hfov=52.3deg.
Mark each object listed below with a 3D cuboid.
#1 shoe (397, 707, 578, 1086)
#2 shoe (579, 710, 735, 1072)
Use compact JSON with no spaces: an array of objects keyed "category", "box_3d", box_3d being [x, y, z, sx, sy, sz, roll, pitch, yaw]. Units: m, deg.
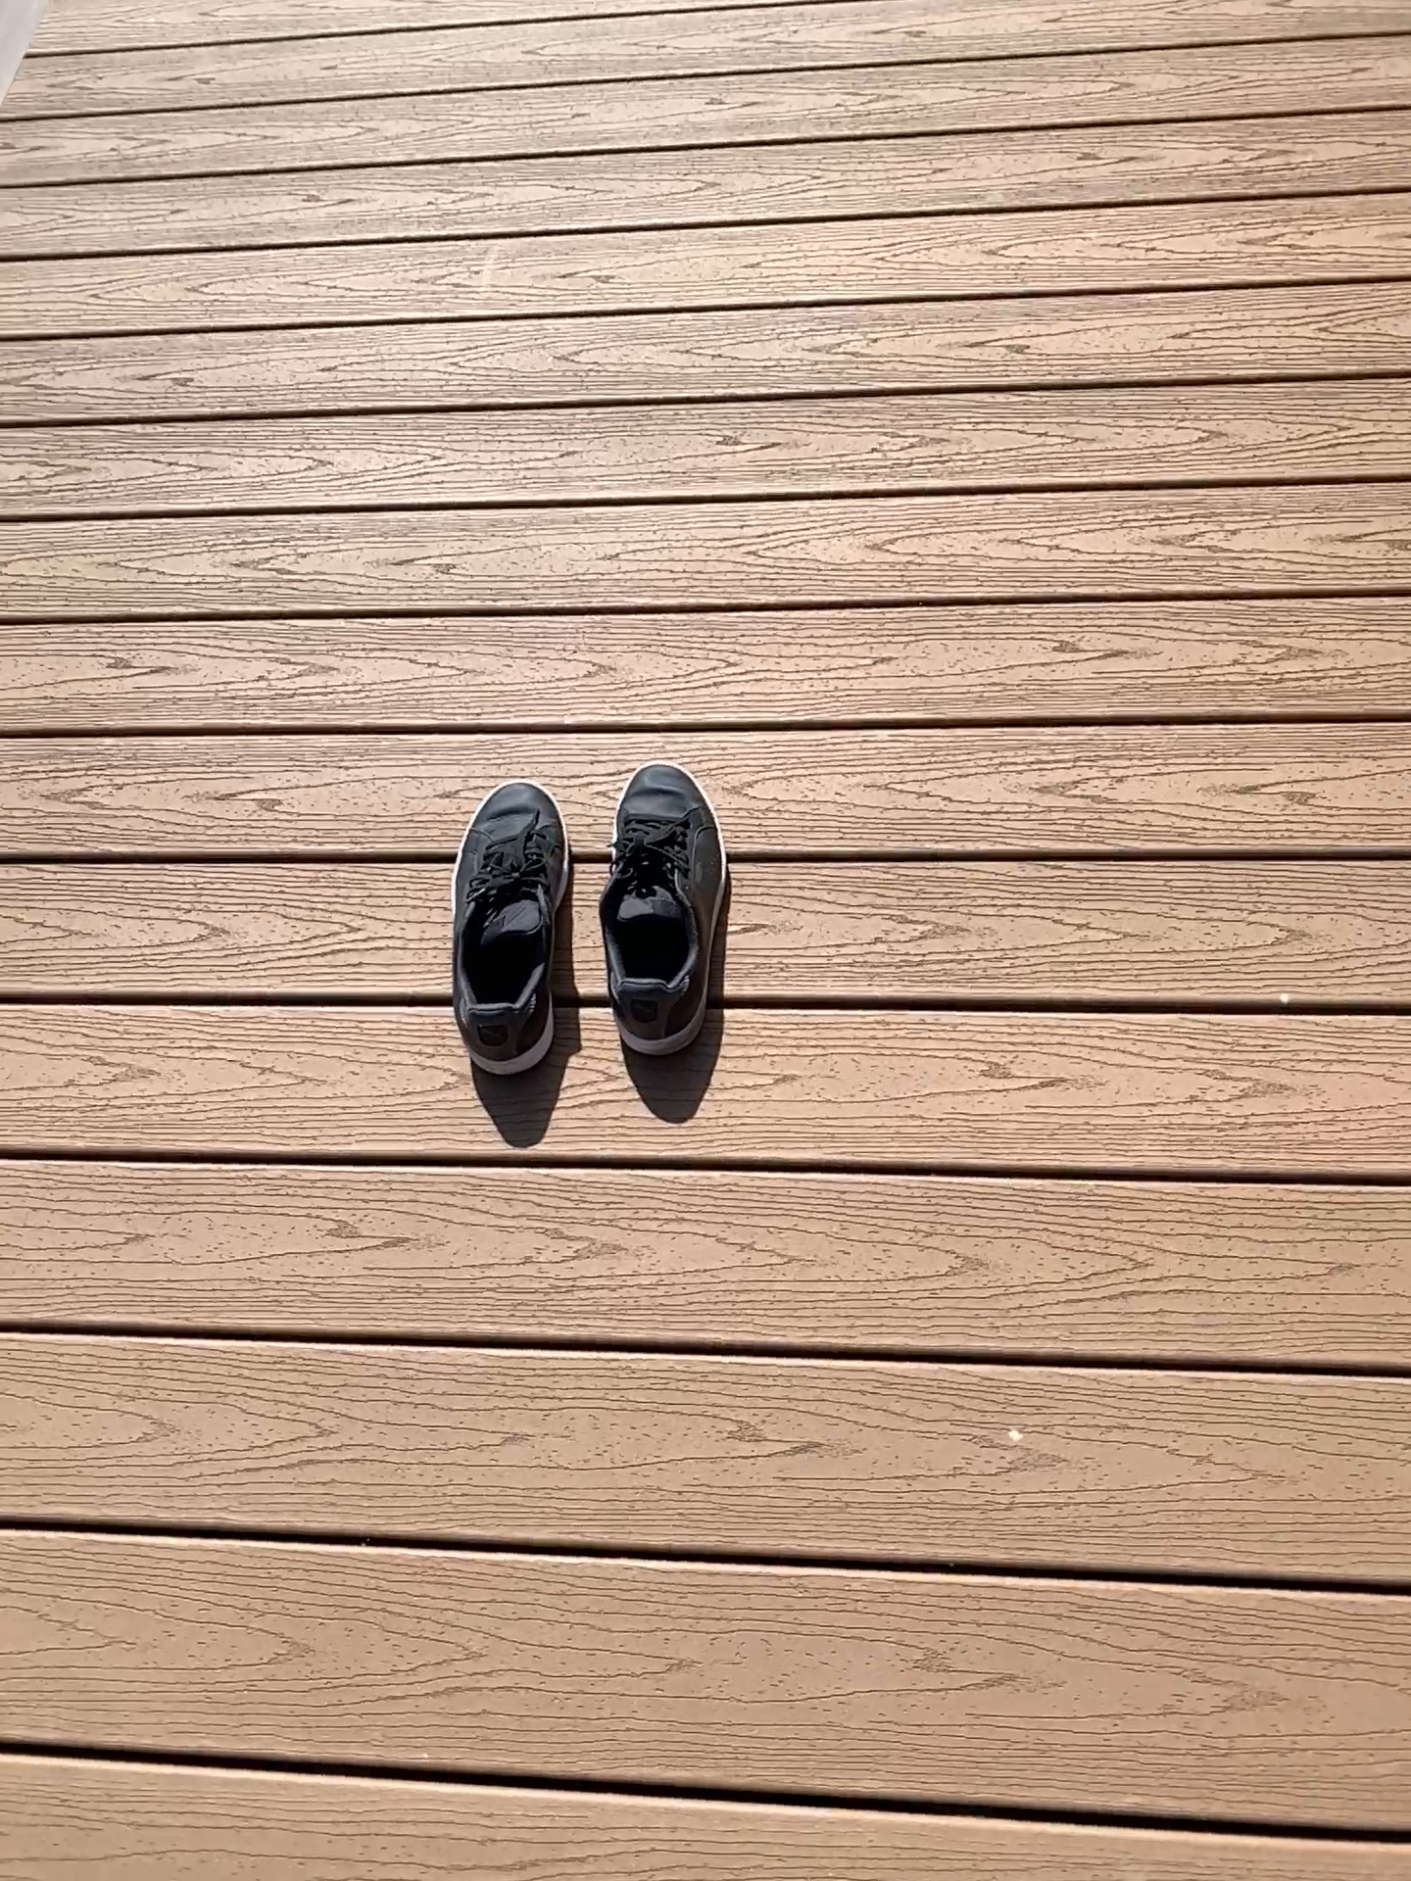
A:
[{"category":"shoe","box_3d":[-0.176,-0.040,1.214,0.112,0.107,0.301,-3,62,5]},{"category":"shoe","box_3d":[-0.037,-0.043,1.193,0.110,0.104,0.281,-3,62,5]}]
